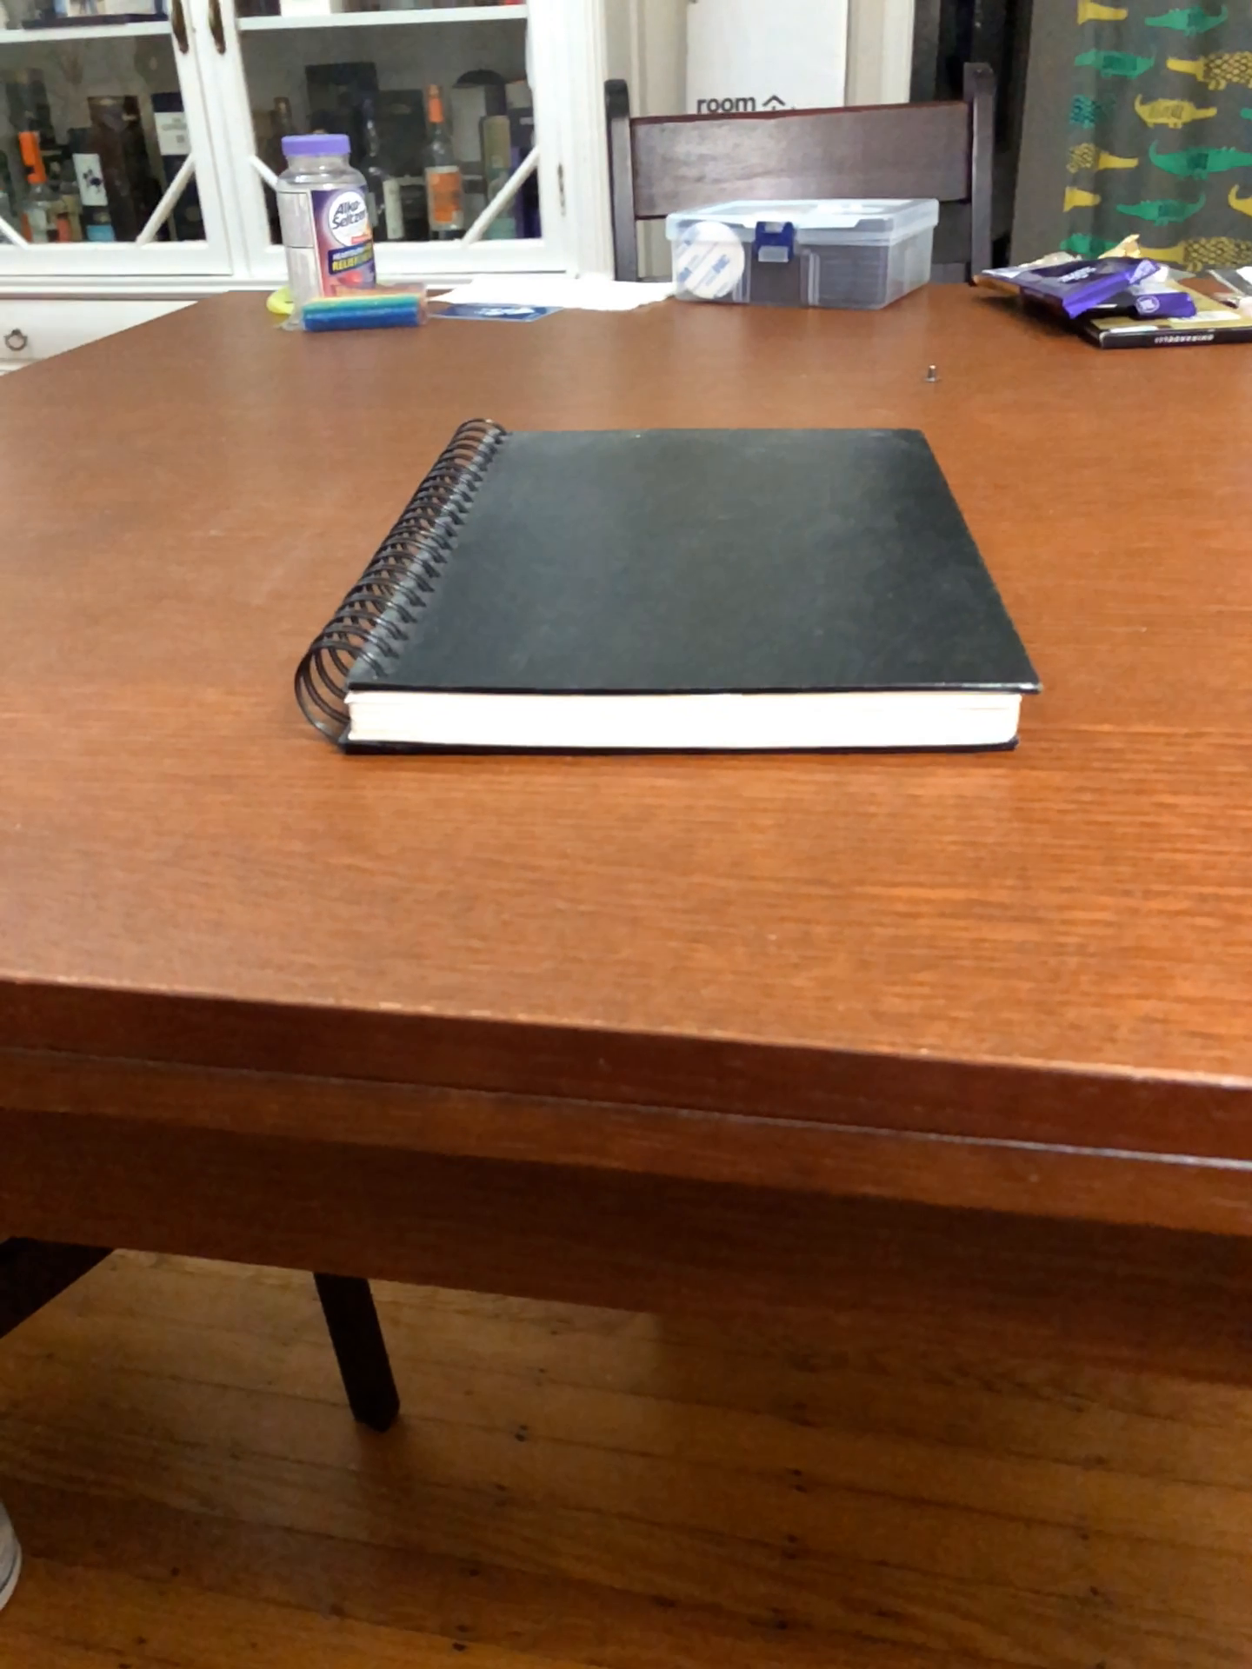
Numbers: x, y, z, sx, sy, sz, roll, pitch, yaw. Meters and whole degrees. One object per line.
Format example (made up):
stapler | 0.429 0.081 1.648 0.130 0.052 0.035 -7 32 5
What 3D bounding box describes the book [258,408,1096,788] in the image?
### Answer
book | 0.018 -0.091 0.449 0.200 0.030 0.262 0 30 4
